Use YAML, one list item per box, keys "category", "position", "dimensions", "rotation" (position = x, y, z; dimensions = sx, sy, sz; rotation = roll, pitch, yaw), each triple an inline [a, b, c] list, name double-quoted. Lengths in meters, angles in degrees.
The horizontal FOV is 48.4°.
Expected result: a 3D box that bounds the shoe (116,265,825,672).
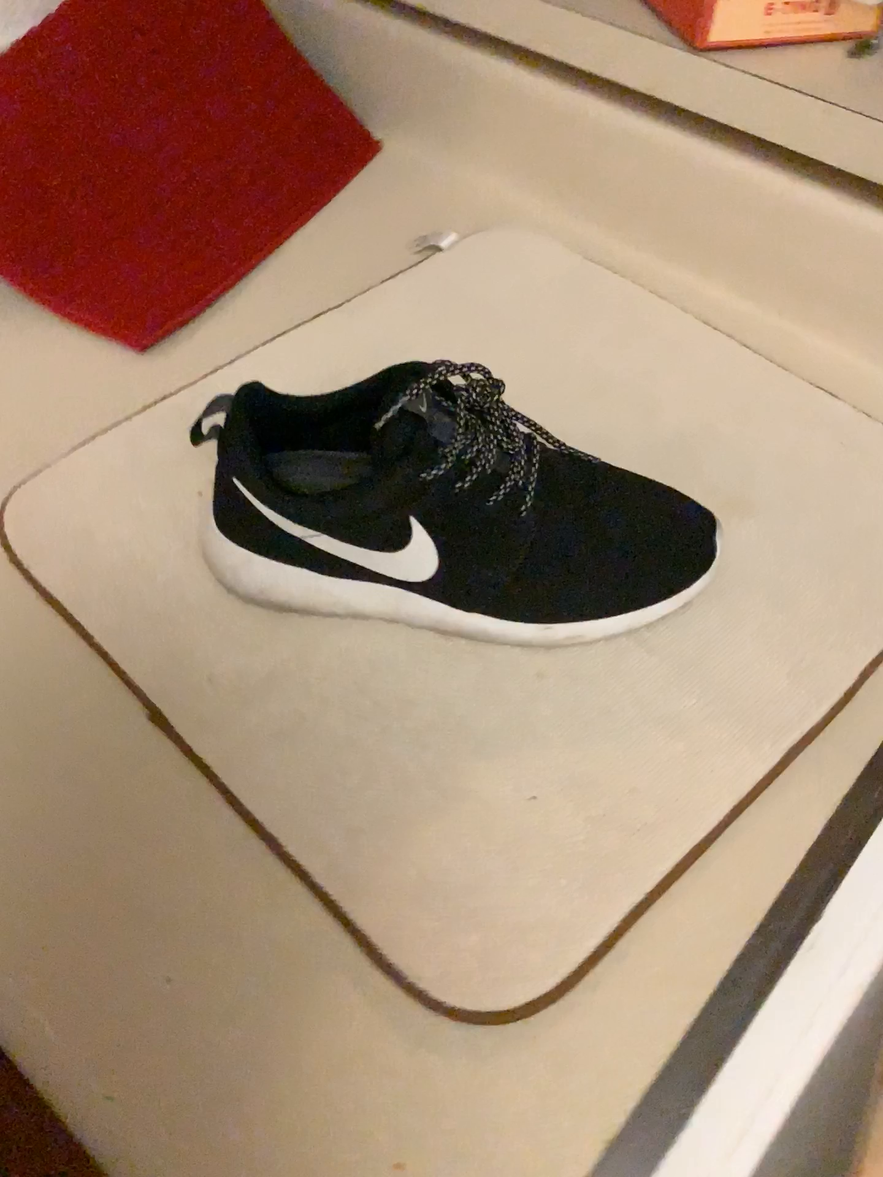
- category: "shoe"
  position: [0.014, -0.058, 0.474]
  dimensions: [0.280, 0.120, 0.130]
  rotation: [4, 53, 3]
